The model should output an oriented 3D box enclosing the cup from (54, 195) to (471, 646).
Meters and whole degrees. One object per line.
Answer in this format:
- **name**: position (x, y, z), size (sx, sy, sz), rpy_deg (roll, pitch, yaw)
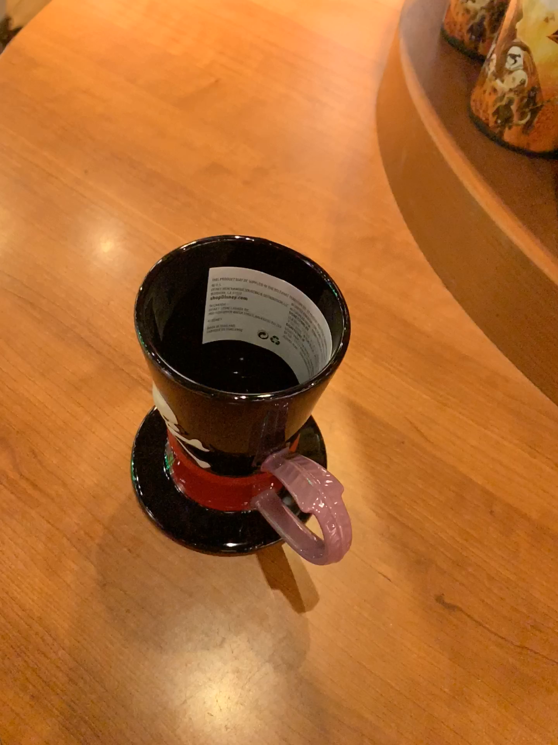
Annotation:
- **cup**: position (-0.018, 0.027, 0.281), size (0.110, 0.144, 0.134), rpy_deg (-23, 62, -21)
